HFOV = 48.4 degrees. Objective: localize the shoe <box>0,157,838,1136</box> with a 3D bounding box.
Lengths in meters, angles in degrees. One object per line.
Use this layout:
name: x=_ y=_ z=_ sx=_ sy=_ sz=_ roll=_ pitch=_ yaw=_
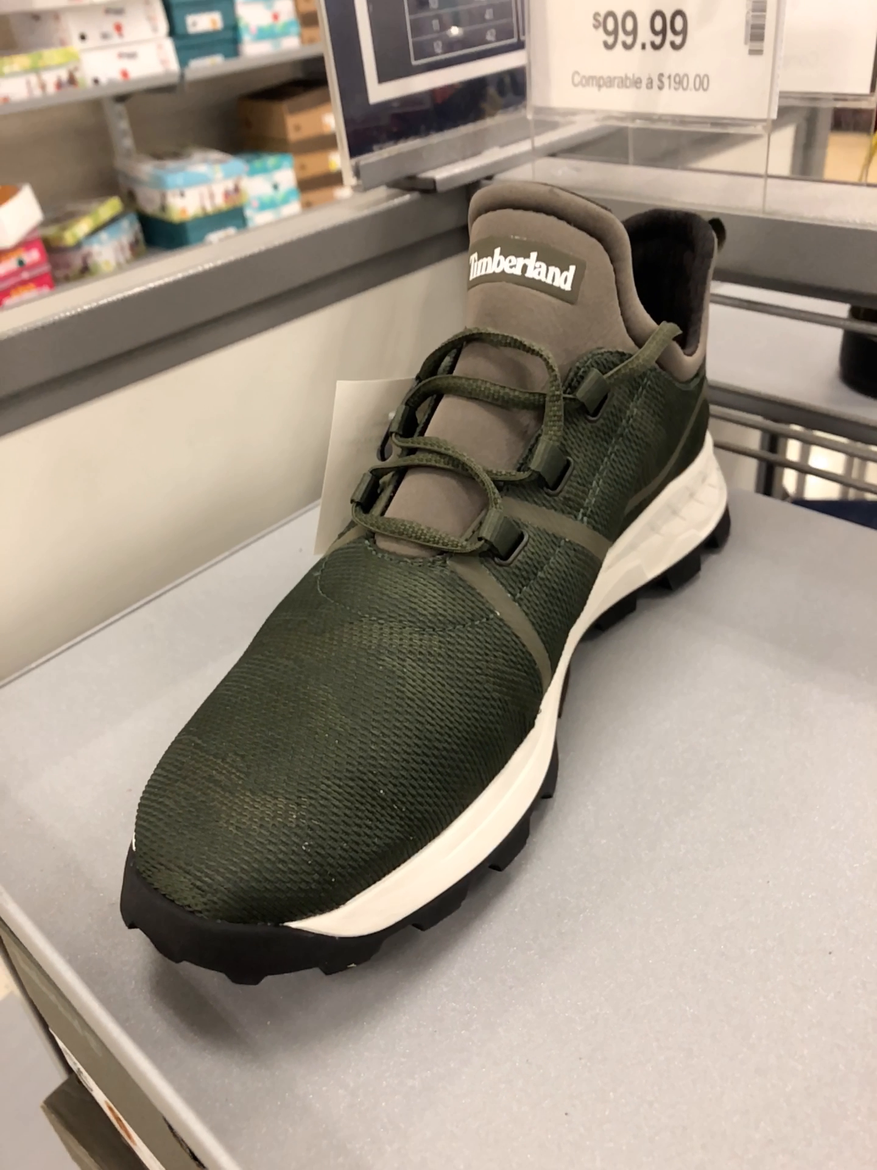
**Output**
shoe: x=0.008 y=-0.027 z=0.324 sx=0.130 sy=0.149 sz=0.312 roll=18 pitch=41 yaw=31
